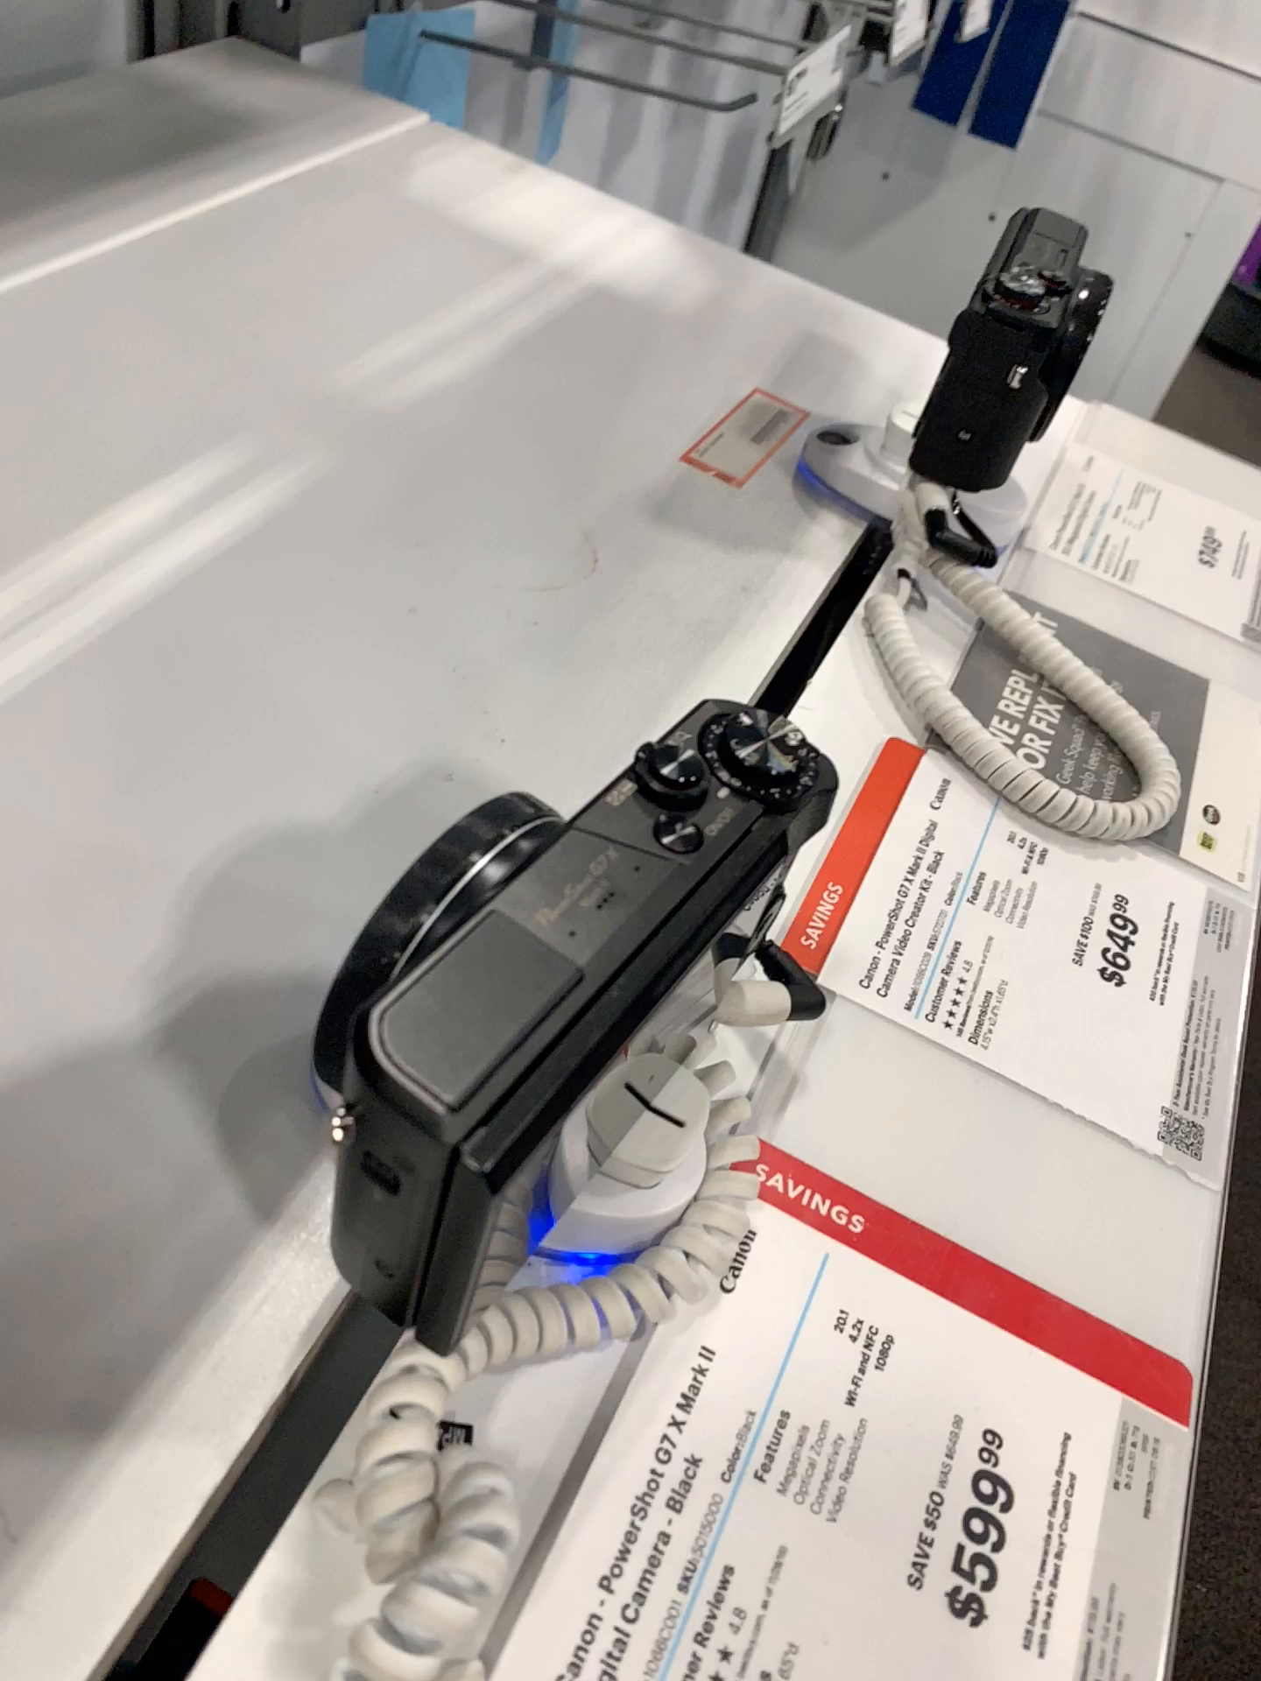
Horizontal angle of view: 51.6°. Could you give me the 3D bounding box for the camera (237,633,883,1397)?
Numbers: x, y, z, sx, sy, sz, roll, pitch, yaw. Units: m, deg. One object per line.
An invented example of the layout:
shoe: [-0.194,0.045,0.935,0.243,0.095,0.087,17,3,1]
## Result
camera: [-0.009,0.023,0.216,0.044,0.060,0.111,32,45,13]
